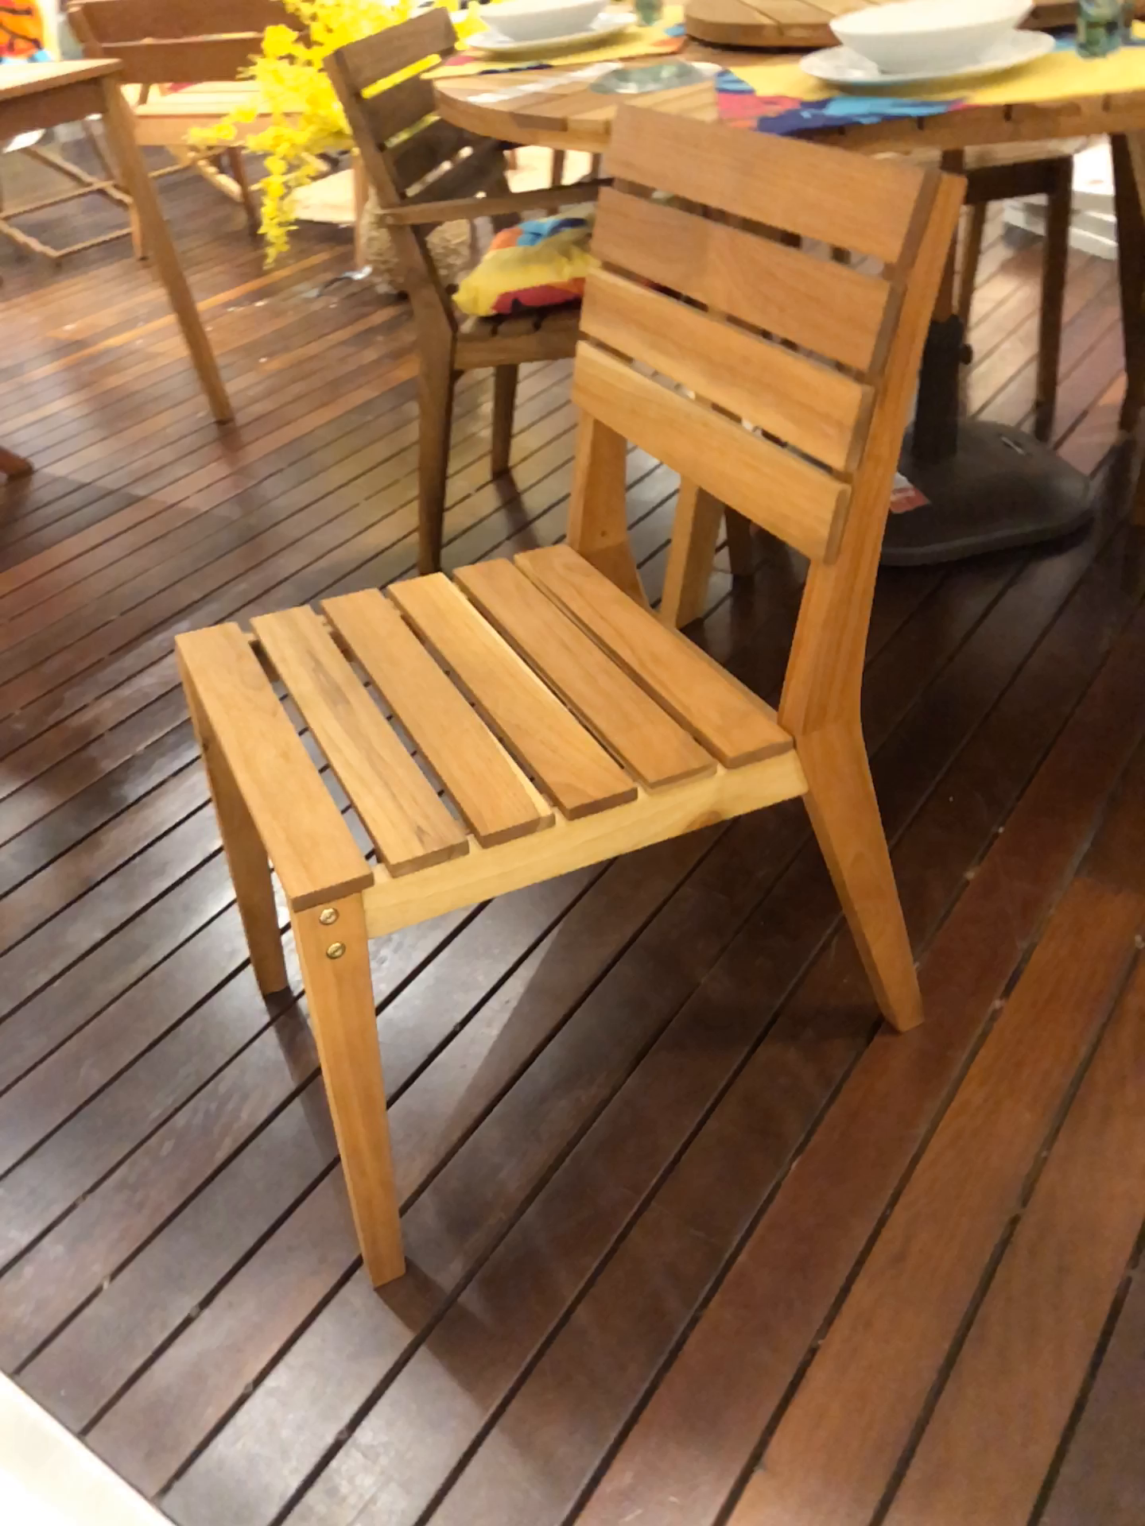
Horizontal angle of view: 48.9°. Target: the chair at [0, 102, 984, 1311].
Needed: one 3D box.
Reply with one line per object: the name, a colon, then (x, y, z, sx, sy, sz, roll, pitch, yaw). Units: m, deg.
chair: (-0.067, -0.069, 1.086, 0.601, 0.764, 0.463, -21, 37, -16)
